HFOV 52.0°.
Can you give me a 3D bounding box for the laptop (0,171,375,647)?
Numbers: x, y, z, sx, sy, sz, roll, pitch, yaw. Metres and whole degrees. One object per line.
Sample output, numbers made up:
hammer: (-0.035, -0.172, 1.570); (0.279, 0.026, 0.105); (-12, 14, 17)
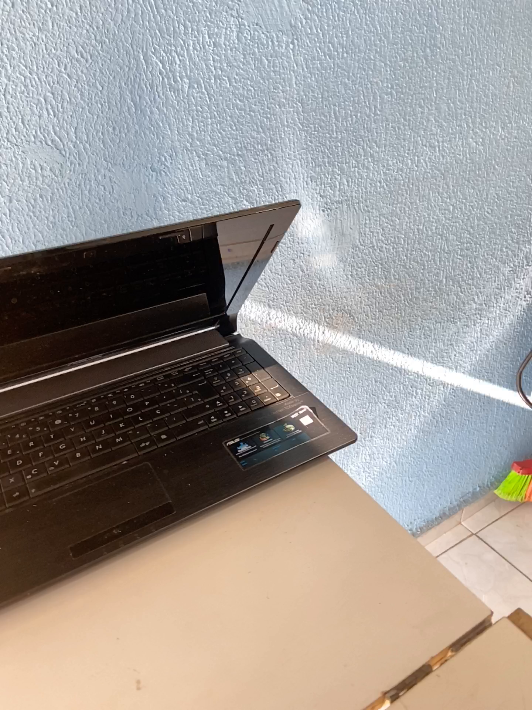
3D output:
laptop: (-0.141, -0.008, 0.488); (0.388, 0.208, 0.256); (-18, 34, -26)
